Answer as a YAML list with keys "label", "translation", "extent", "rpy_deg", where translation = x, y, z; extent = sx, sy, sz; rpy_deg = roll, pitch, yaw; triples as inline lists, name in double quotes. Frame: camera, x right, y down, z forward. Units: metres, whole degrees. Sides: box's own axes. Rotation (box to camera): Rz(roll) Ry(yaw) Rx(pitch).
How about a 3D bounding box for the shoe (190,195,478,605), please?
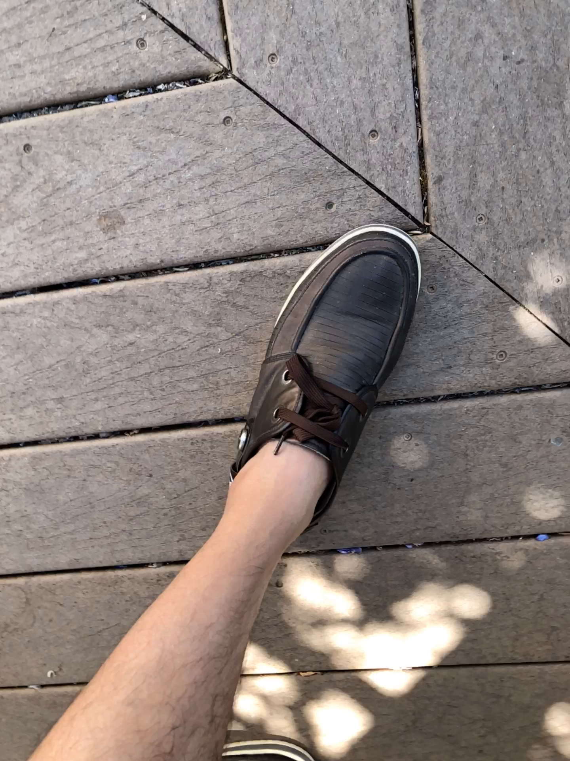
- label: "shoe"
  translation: [0.028, 0.015, 0.510]
  extent: [0.110, 0.110, 0.296]
  rpy_deg: [20, 108, -5]
